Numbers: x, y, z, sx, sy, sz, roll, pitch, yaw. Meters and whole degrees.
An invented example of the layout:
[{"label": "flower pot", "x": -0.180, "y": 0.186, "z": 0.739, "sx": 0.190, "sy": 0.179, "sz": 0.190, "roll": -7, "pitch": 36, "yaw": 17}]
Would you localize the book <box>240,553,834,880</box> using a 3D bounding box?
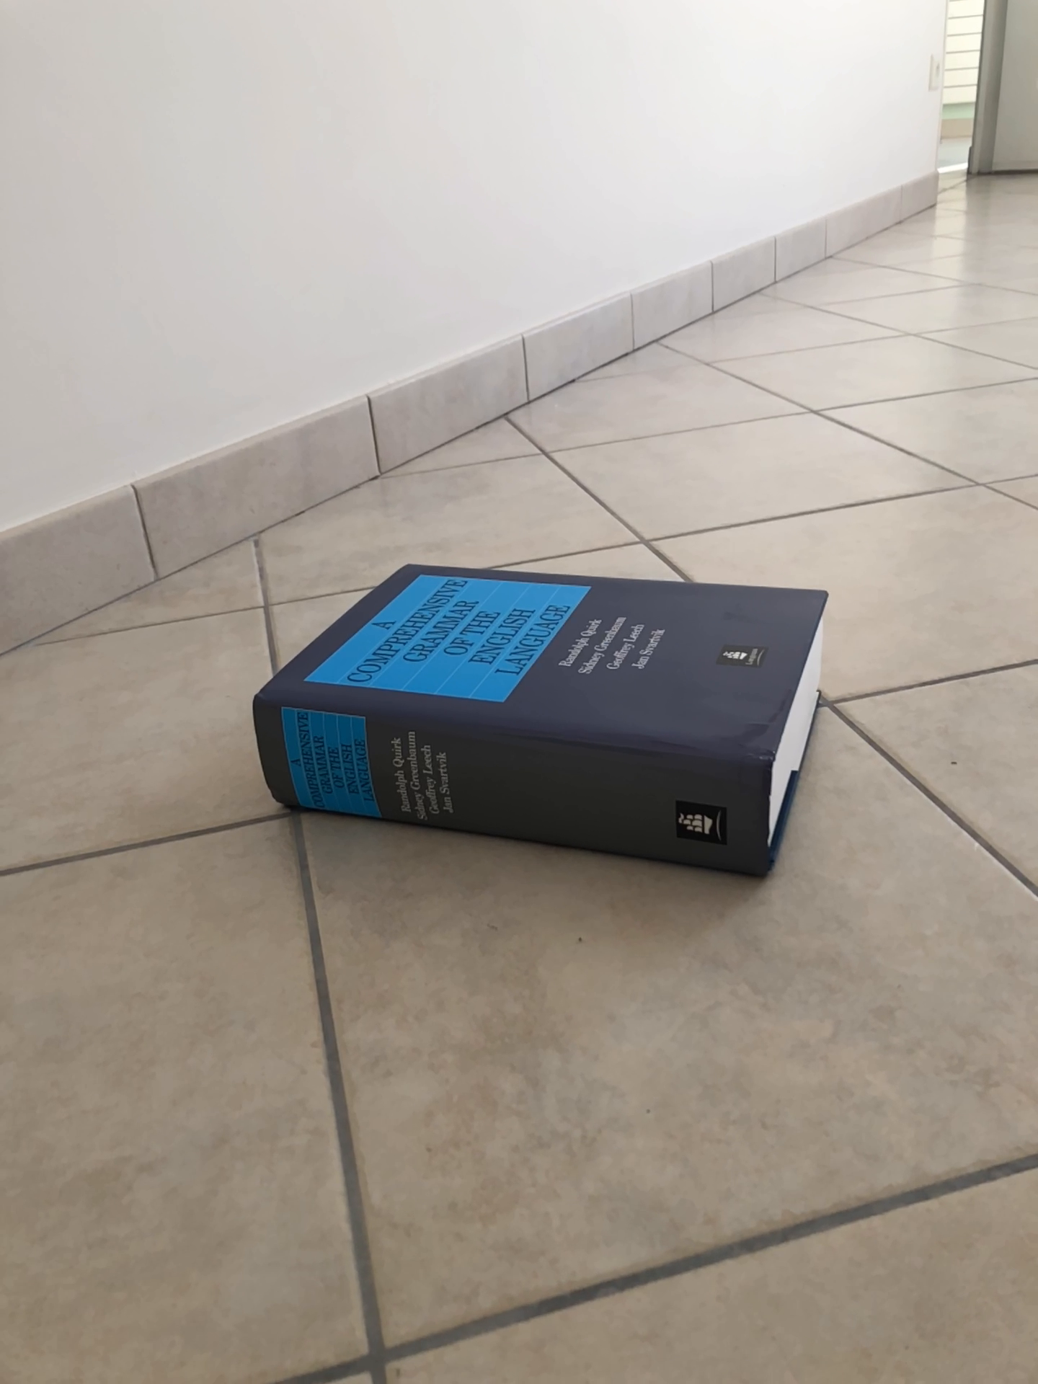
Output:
[{"label": "book", "x": 0.020, "y": -0.002, "z": 0.592, "sx": 0.256, "sy": 0.066, "sz": 0.182, "roll": 5, "pitch": 29, "yaw": 20}]
